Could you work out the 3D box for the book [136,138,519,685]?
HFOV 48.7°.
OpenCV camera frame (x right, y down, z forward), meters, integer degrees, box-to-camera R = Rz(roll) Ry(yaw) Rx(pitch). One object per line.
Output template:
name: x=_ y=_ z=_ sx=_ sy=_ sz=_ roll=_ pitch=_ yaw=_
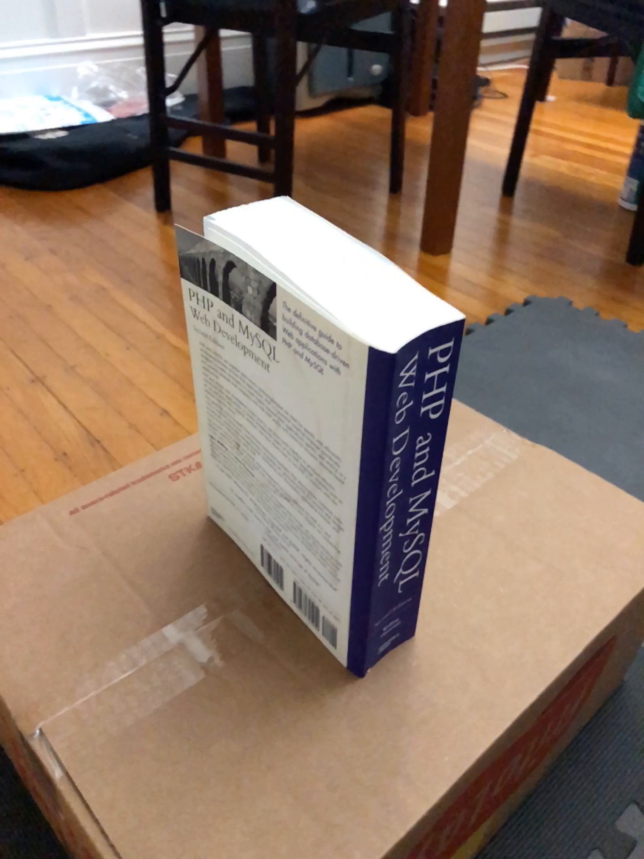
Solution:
book: x=-0.014 y=-0.016 z=0.438 sx=0.090 sy=0.258 sz=0.201 roll=-23 pitch=43 yaw=-32
